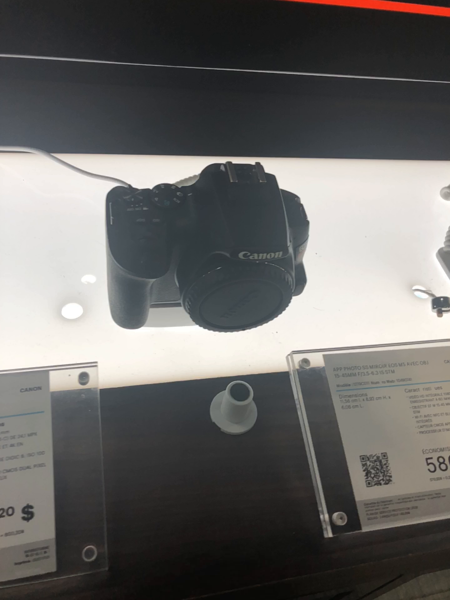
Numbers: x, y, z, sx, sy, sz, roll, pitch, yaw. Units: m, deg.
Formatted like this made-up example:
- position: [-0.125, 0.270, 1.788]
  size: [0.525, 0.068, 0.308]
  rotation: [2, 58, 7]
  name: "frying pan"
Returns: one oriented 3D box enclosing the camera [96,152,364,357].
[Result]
- position: [-0.006, -0.027, 0.277]
  size: [0.123, 0.071, 0.081]
  rotation: [-3, 50, -14]
  name: "camera"
